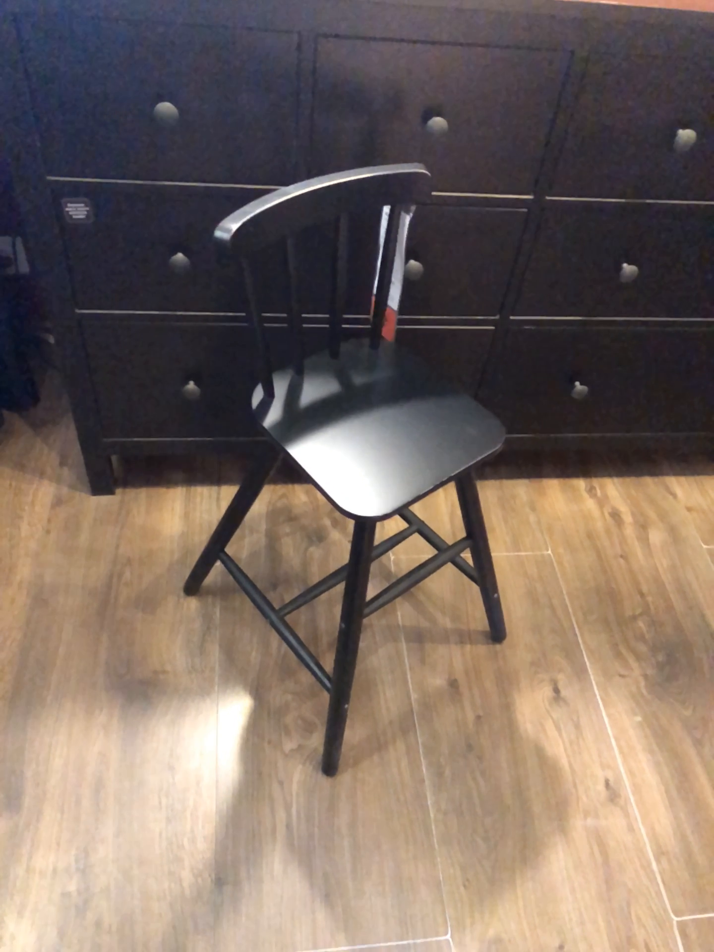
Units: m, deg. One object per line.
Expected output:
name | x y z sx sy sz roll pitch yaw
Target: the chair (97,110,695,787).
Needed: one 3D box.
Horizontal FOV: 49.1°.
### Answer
chair | 0.009 -0.018 1.108 0.451 0.716 0.471 -29 58 -28
